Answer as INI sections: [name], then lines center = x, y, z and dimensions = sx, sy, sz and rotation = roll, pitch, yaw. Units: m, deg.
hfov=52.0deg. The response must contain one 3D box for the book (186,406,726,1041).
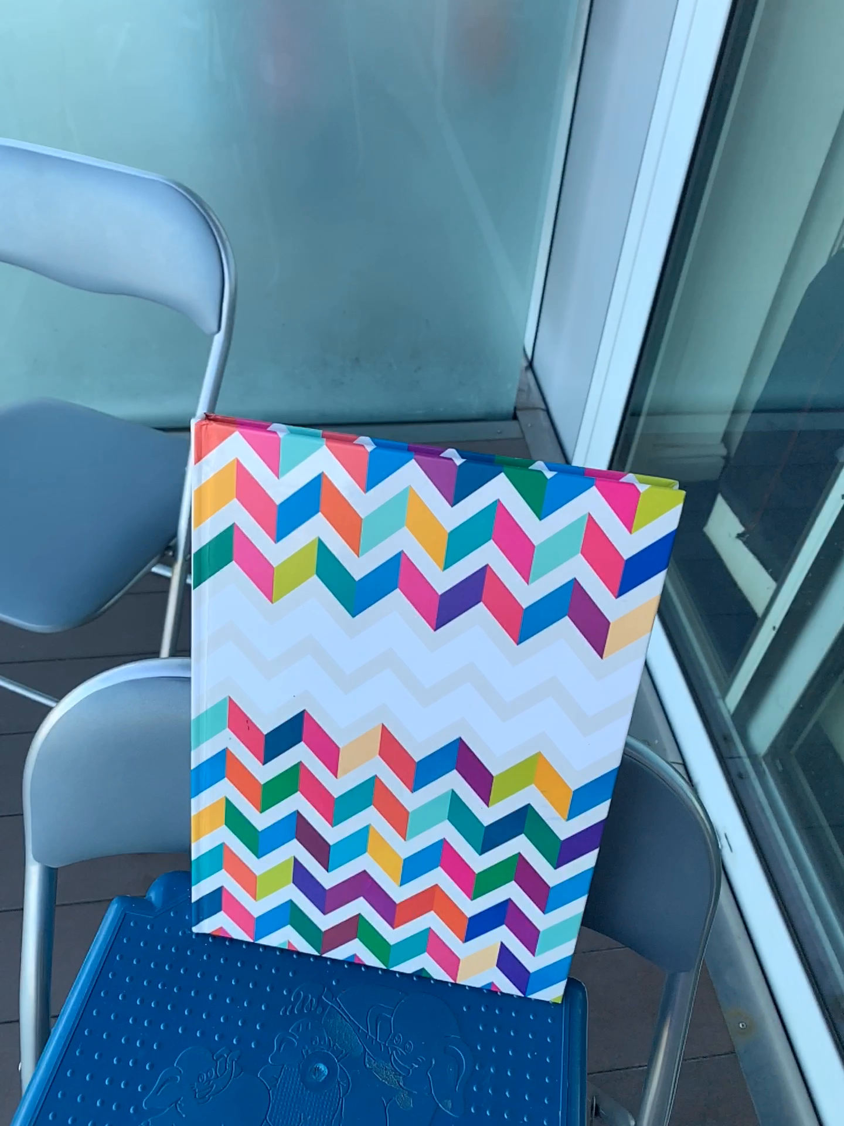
[book]
center = -0.003, 0.087, 0.408
dimensions = 0.211, 0.289, 0.030
rotation = 10, 23, 6
